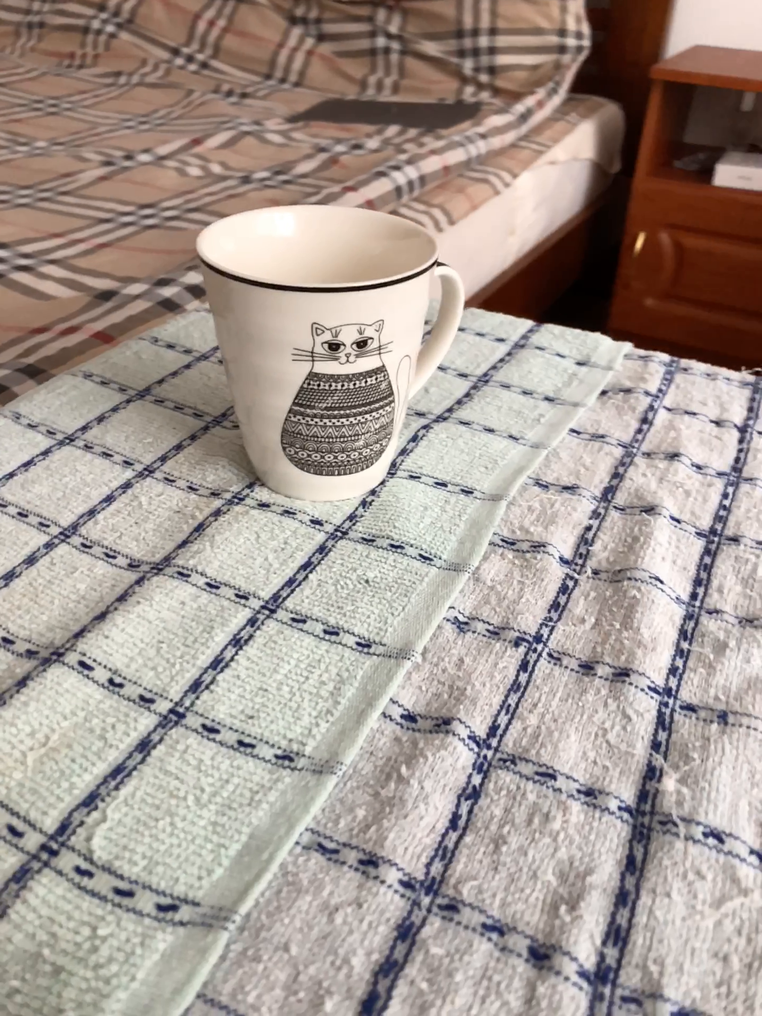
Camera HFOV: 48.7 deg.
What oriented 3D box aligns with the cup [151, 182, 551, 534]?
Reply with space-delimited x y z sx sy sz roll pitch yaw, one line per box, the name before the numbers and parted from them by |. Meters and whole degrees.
cup | -0.013 -0.069 0.345 0.123 0.090 0.091 -20 41 -28
